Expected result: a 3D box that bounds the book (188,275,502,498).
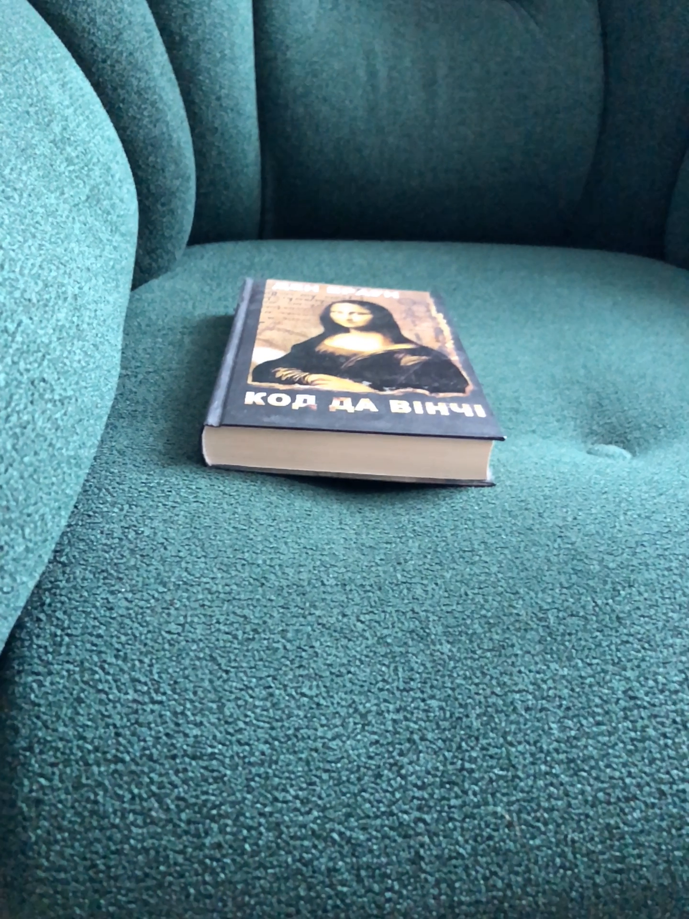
[{"bbox_3d":[-0.004,-0.052,0.424,0.135,0.030,0.211,3,30,-4],"label":"book"}]
